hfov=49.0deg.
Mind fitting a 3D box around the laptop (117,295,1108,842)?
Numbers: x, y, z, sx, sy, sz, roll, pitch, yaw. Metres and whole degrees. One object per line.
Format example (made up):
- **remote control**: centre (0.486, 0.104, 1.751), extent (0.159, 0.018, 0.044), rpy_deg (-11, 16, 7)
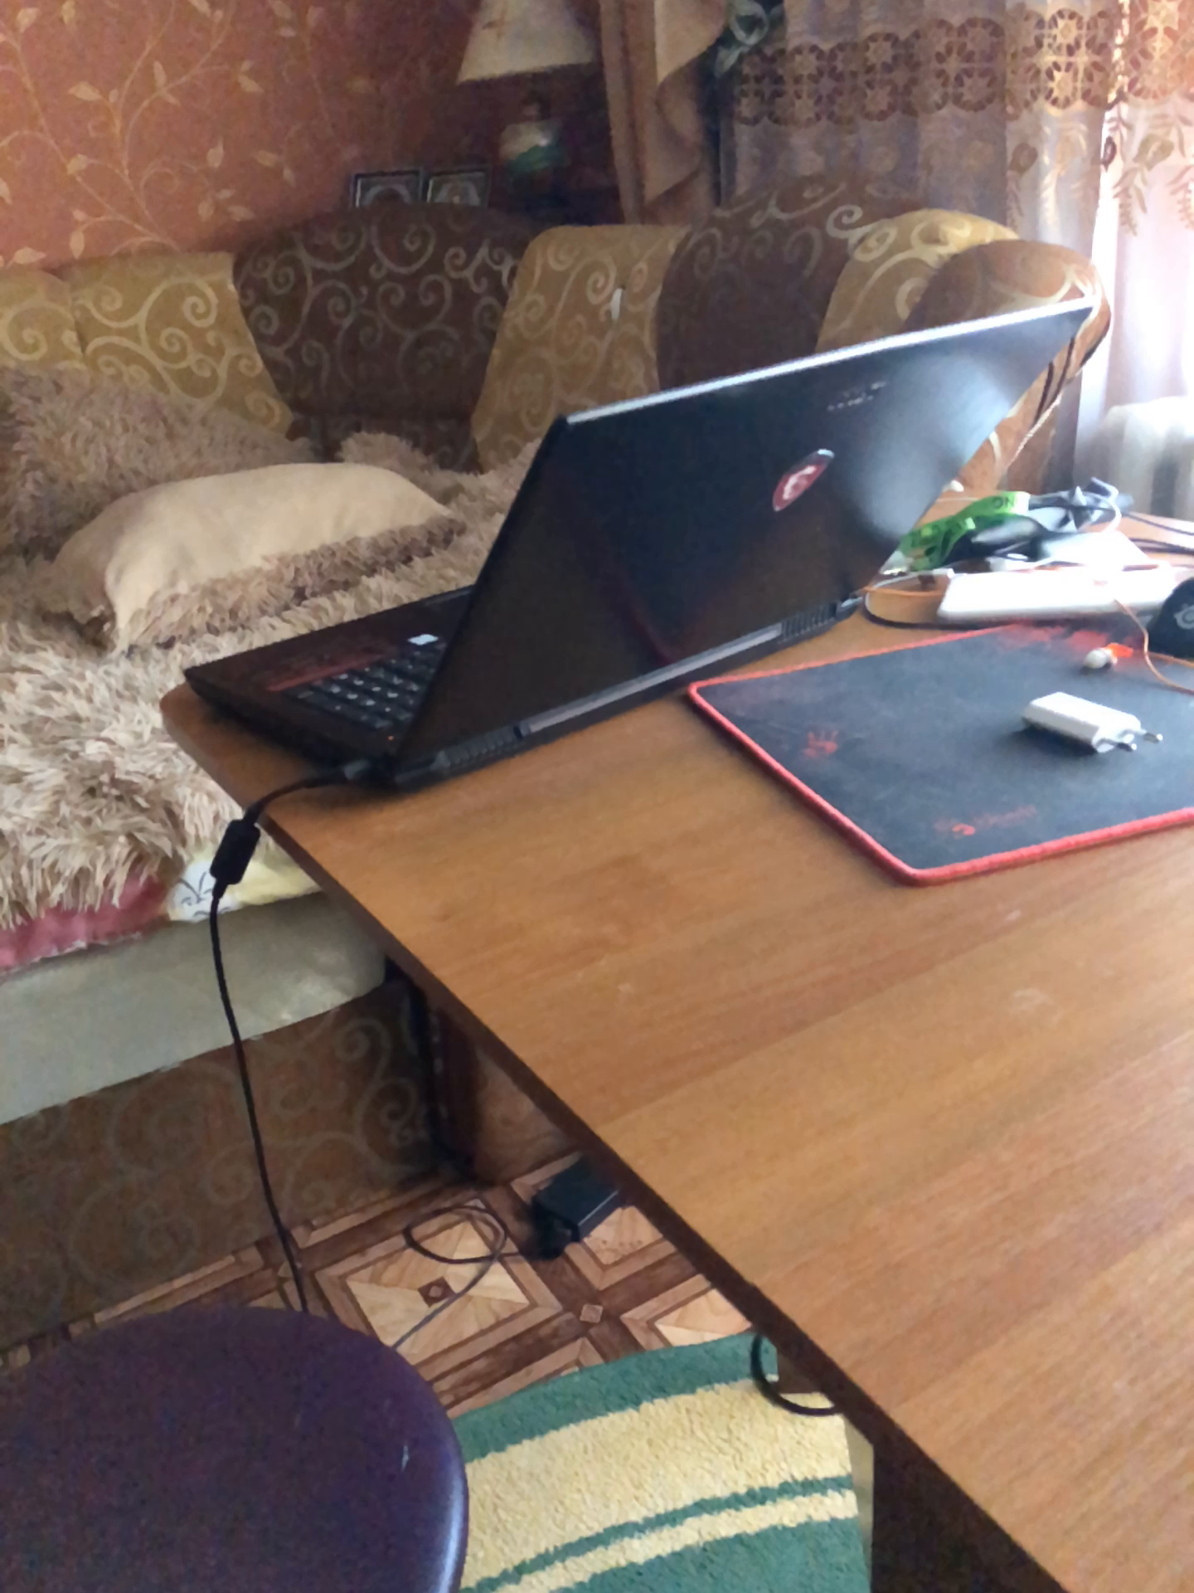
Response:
- **laptop**: centre (-0.001, -0.173, 0.765), extent (0.374, 0.174, 0.410), rpy_deg (-24, 30, -35)
